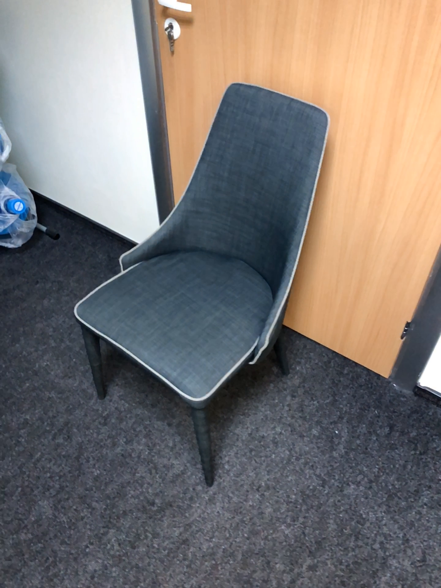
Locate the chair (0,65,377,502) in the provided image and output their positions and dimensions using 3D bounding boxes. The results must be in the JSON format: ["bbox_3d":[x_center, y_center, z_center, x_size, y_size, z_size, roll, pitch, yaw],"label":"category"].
[{"bbox_3d":[-0.051,-0.027,1.308,0.521,0.845,0.643,29,52,27],"label":"chair"}]
